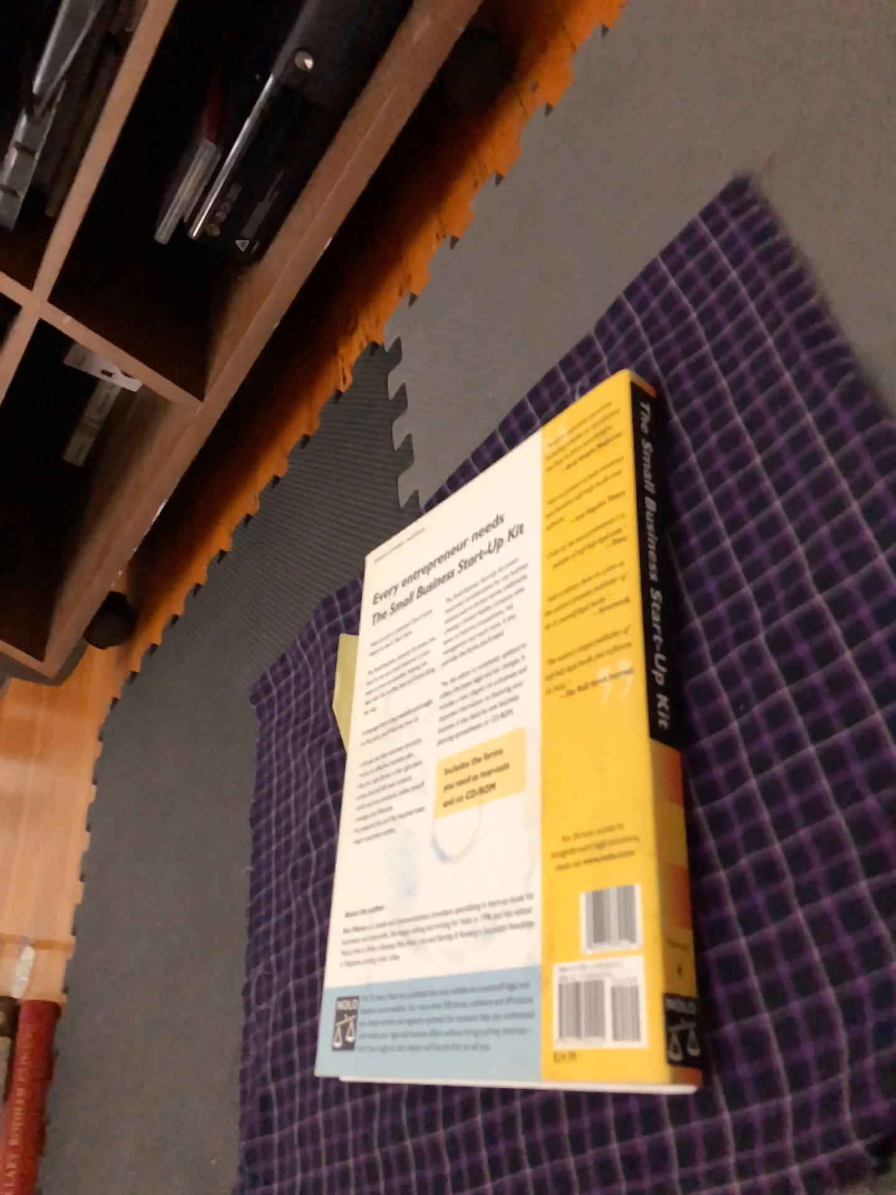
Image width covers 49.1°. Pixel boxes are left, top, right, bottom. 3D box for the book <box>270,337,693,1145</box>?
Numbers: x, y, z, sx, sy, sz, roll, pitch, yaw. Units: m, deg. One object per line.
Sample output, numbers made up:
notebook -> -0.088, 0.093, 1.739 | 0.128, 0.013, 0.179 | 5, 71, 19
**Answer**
book -> 0.005, 0.067, 0.453 | 0.231, 0.030, 0.311 | -30, 48, 47
